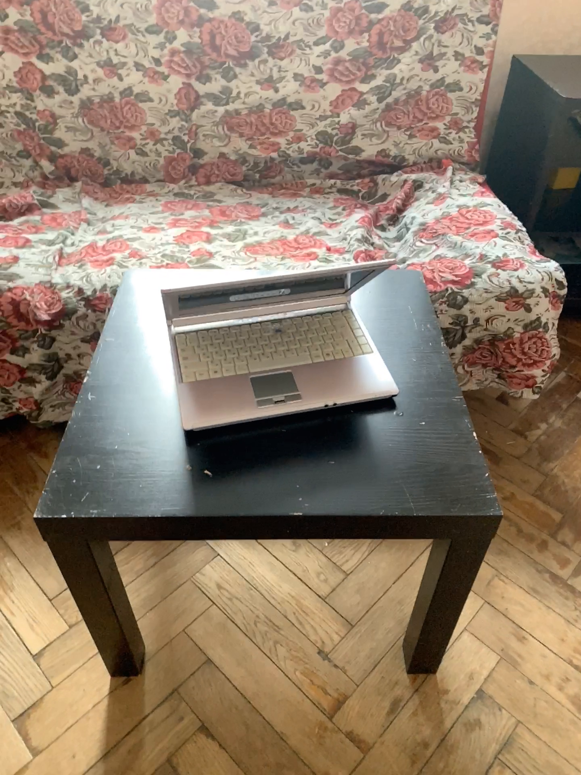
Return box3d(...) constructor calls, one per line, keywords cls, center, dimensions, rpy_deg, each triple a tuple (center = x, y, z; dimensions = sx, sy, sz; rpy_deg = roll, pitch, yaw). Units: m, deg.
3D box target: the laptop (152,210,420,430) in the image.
box3d(cls="laptop", center=(-0.018, -0.105, 0.823), dimensions=(0.305, 0.156, 0.227), rpy_deg=(-9, 44, -11))
